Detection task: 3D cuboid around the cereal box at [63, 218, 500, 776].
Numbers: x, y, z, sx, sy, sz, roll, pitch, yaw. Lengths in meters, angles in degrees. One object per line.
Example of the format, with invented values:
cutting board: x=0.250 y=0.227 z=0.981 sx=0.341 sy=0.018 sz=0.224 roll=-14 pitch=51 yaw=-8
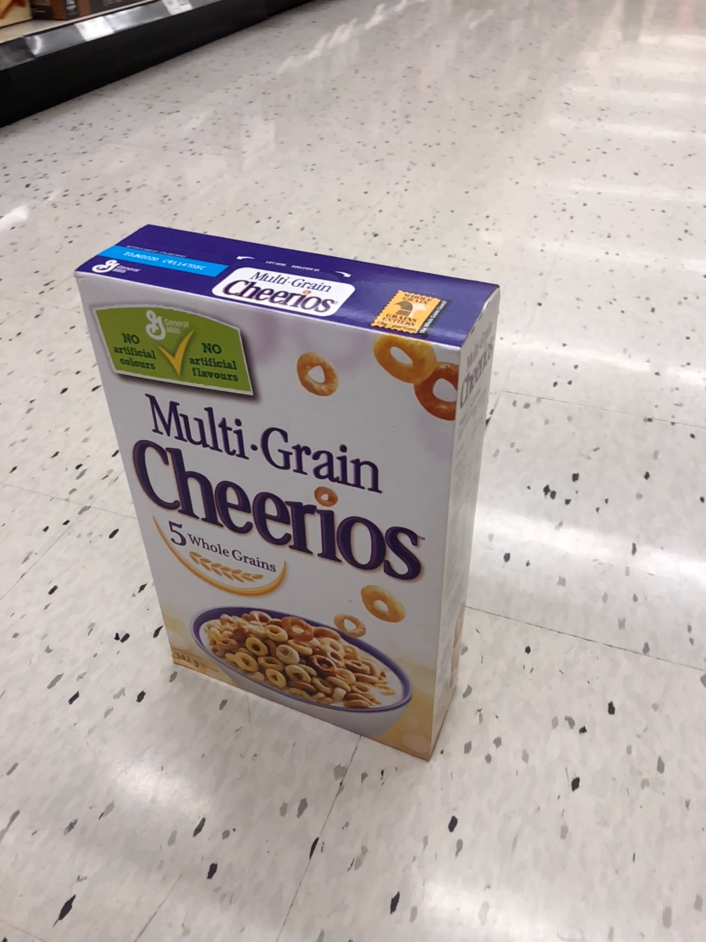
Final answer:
cereal box: x=-0.033 y=0.031 z=0.444 sx=0.190 sy=0.308 sz=0.060 roll=15 pitch=41 yaw=19
